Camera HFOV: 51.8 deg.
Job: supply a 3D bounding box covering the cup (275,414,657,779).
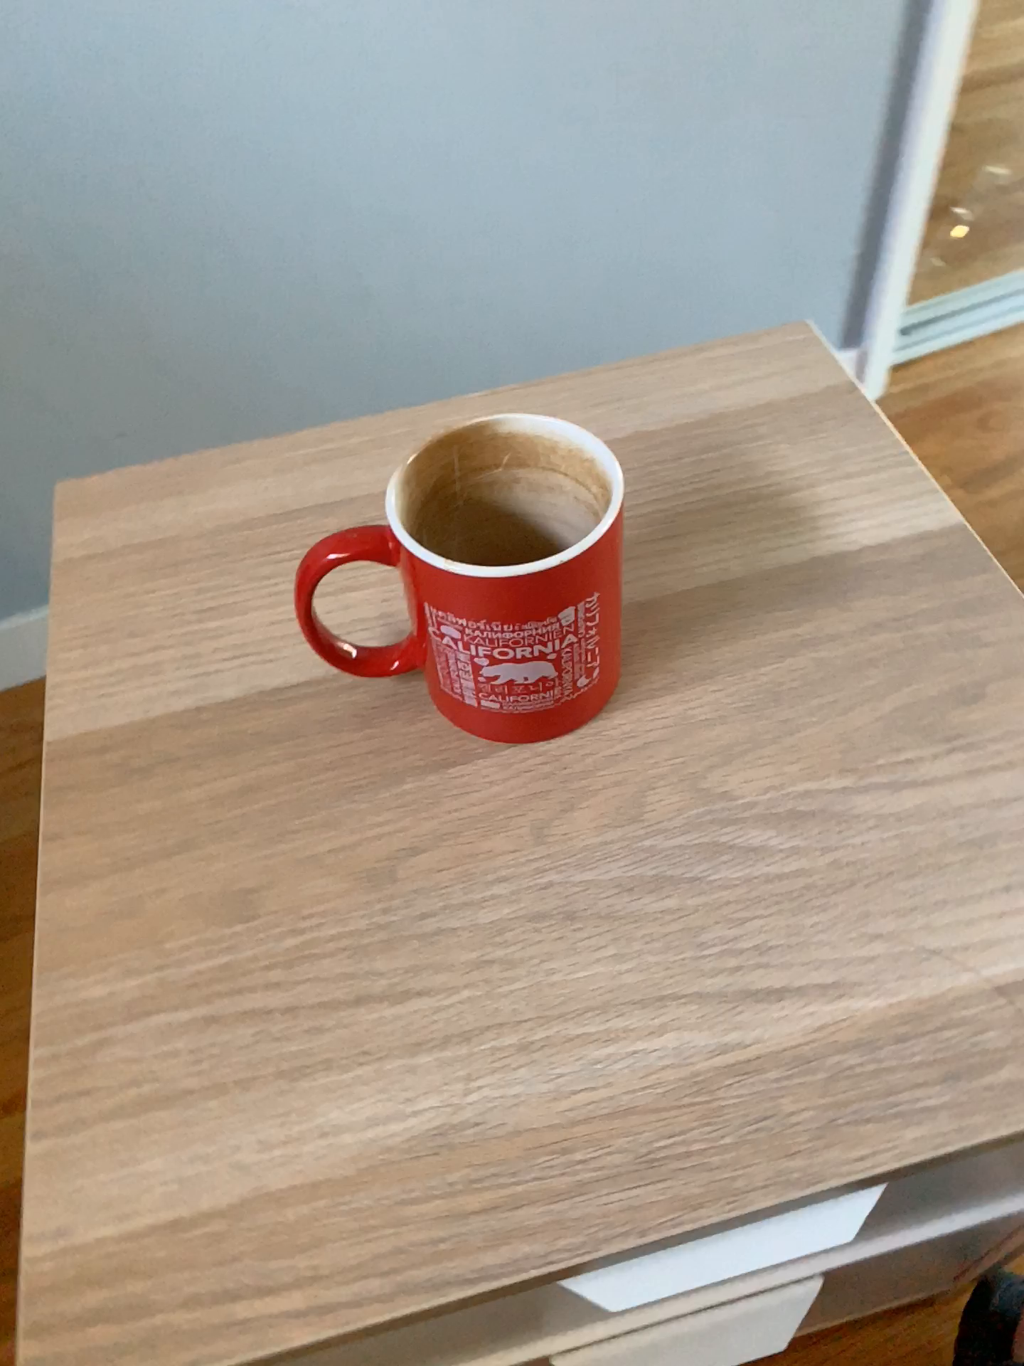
[{"bbox_3d":[-0.015,-0.029,0.389,0.120,0.100,0.070,-8,51,-1],"label":"cup"}]
